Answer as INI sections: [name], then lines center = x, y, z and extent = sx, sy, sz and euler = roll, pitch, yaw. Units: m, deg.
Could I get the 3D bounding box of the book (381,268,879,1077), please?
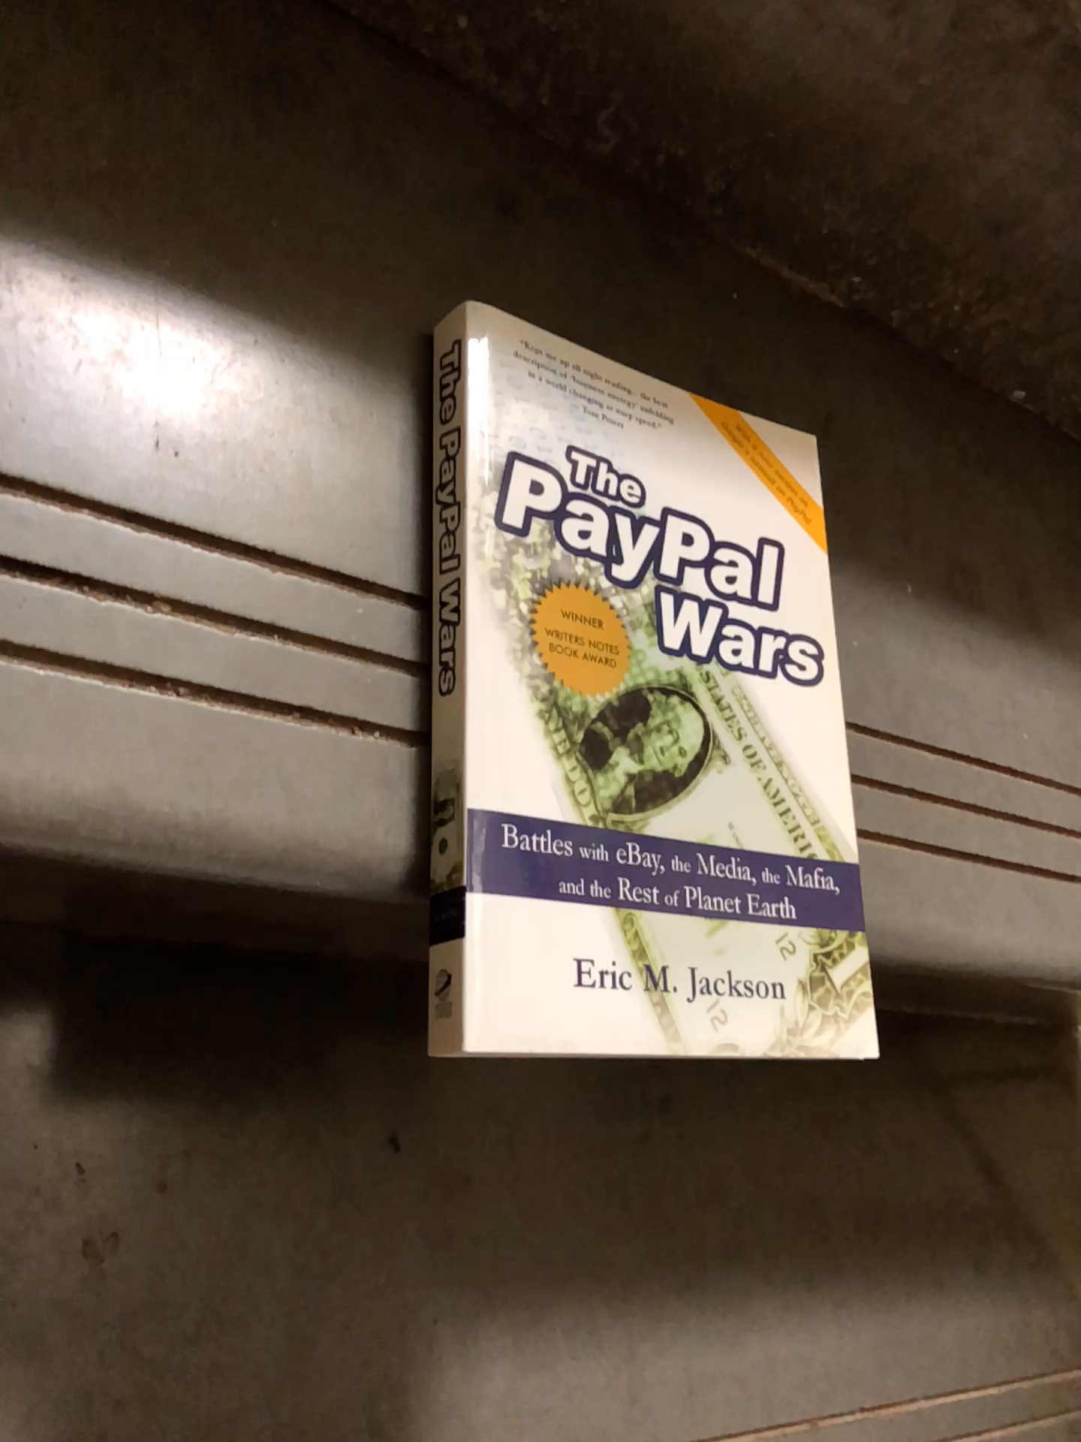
[book]
center = 0.028, -0.008, 0.362
extent = 0.151, 0.030, 0.220
euler = 11, 69, -33
